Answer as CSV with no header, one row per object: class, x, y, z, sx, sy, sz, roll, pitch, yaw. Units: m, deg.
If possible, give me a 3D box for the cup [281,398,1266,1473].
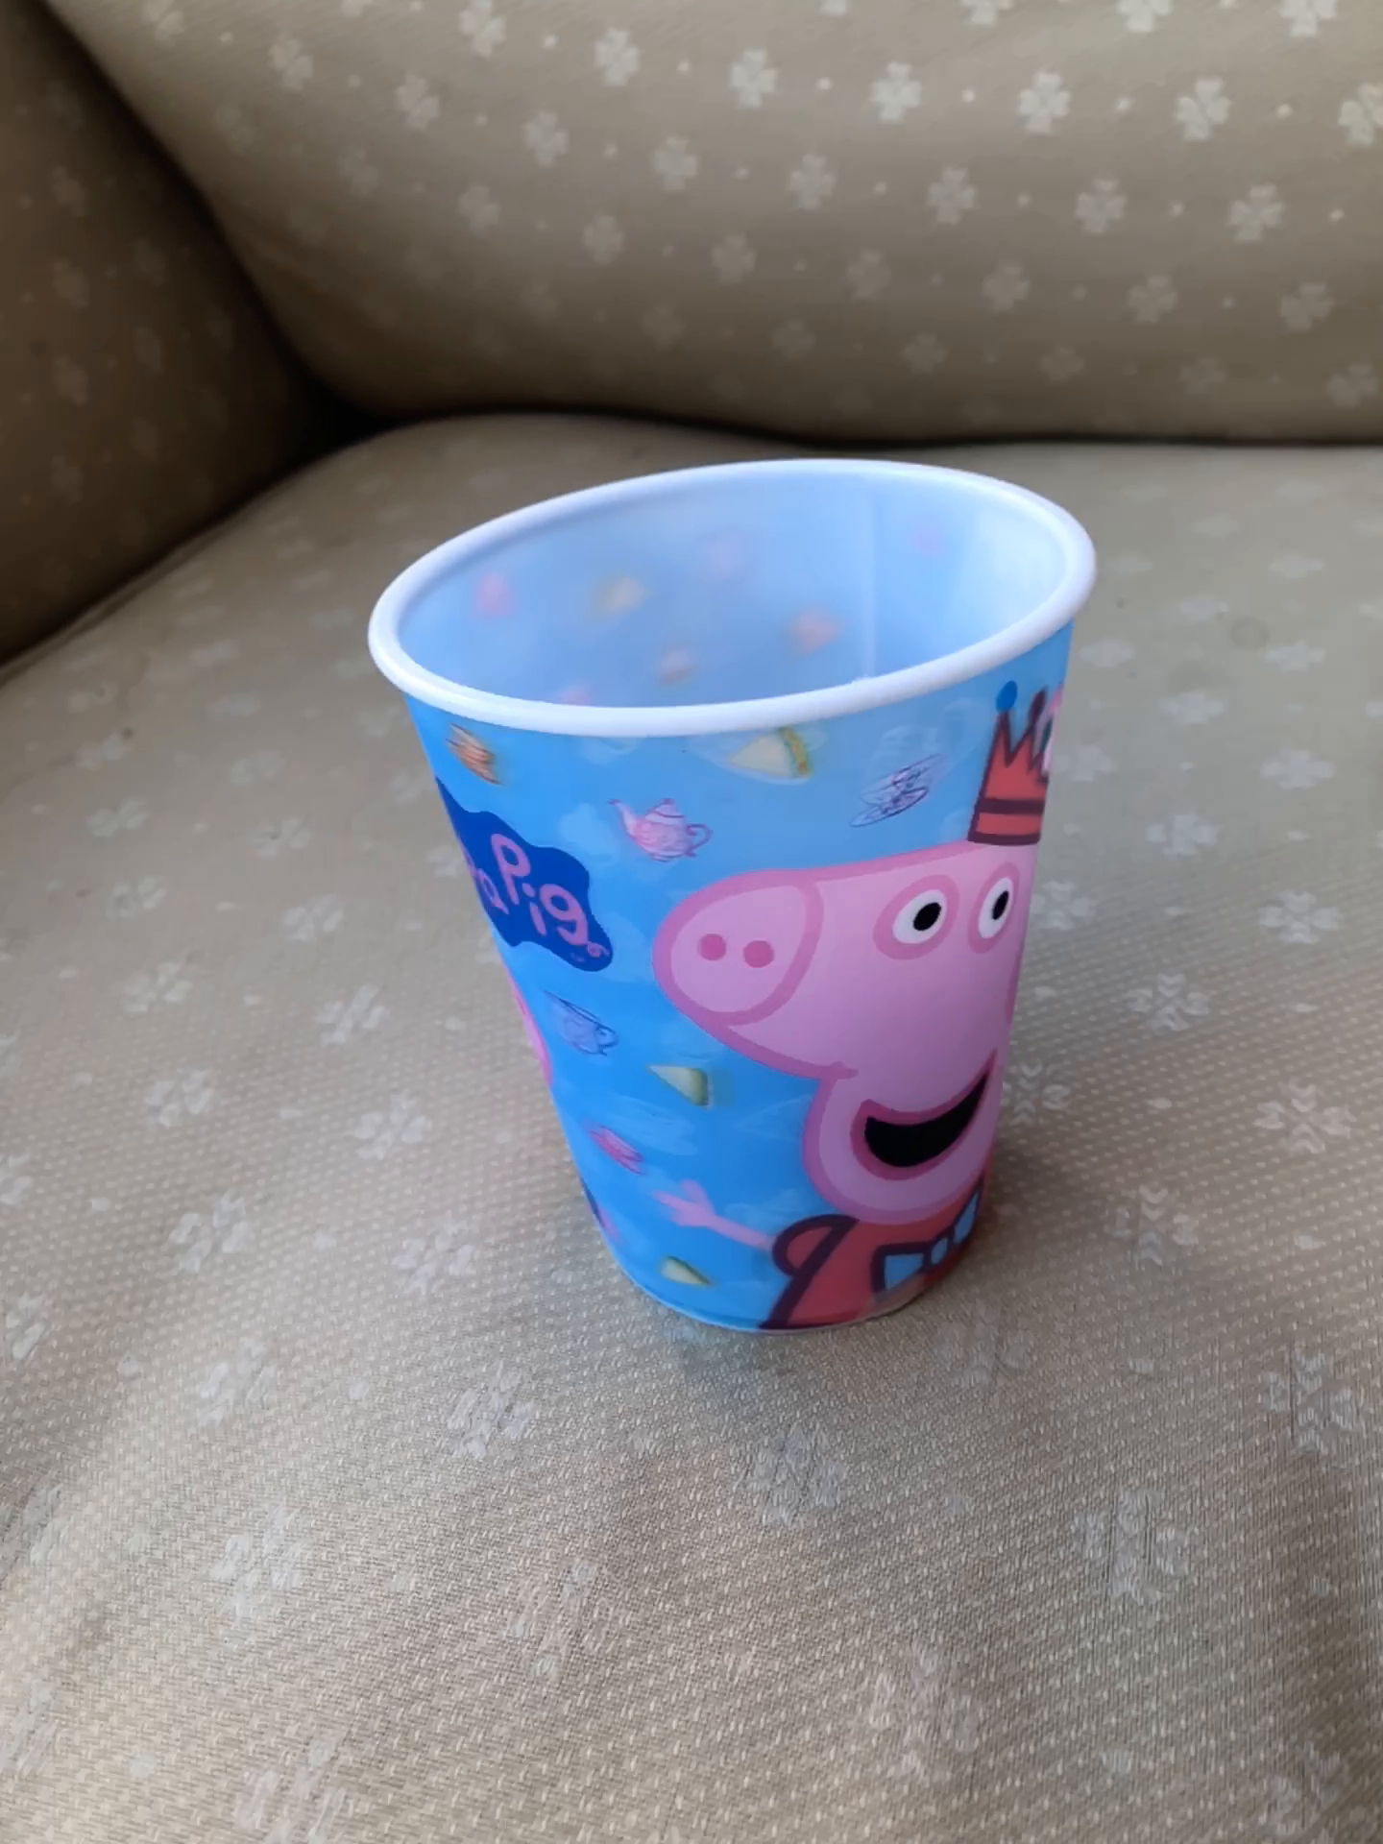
cup,0.010,-0.005,0.224,0.091,0.100,0.087,-3,36,2
